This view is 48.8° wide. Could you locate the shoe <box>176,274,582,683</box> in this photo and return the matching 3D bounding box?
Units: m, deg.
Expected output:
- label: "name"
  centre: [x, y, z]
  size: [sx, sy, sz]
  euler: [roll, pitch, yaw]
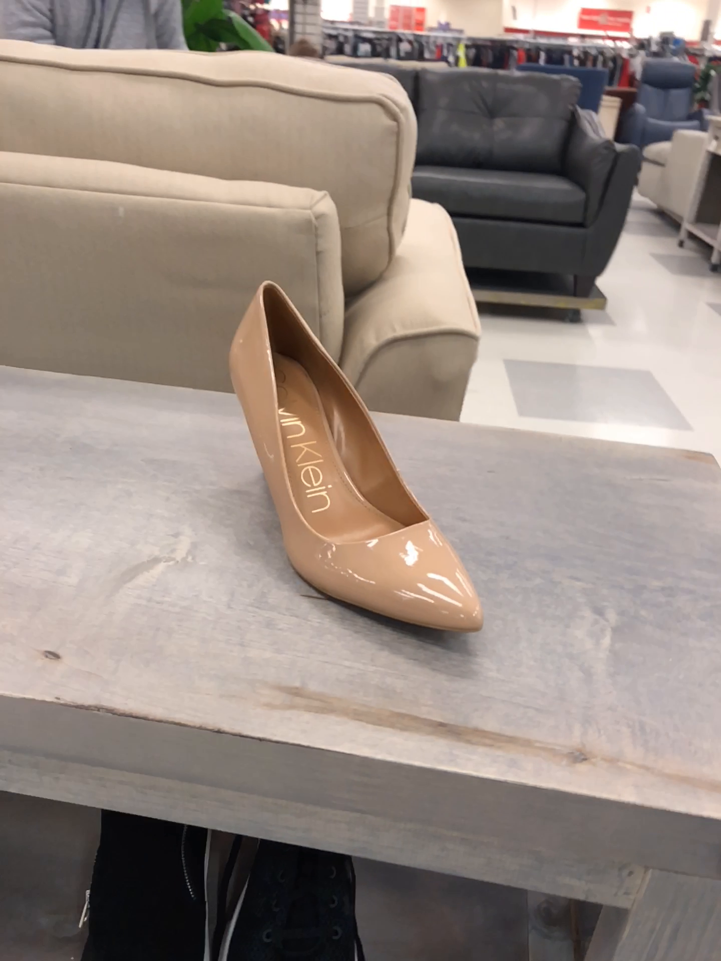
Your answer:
- label: "shoe"
  centre: [-0.011, -0.025, 0.483]
  size: [0.096, 0.129, 0.269]
  euler: [-15, 33, -31]
